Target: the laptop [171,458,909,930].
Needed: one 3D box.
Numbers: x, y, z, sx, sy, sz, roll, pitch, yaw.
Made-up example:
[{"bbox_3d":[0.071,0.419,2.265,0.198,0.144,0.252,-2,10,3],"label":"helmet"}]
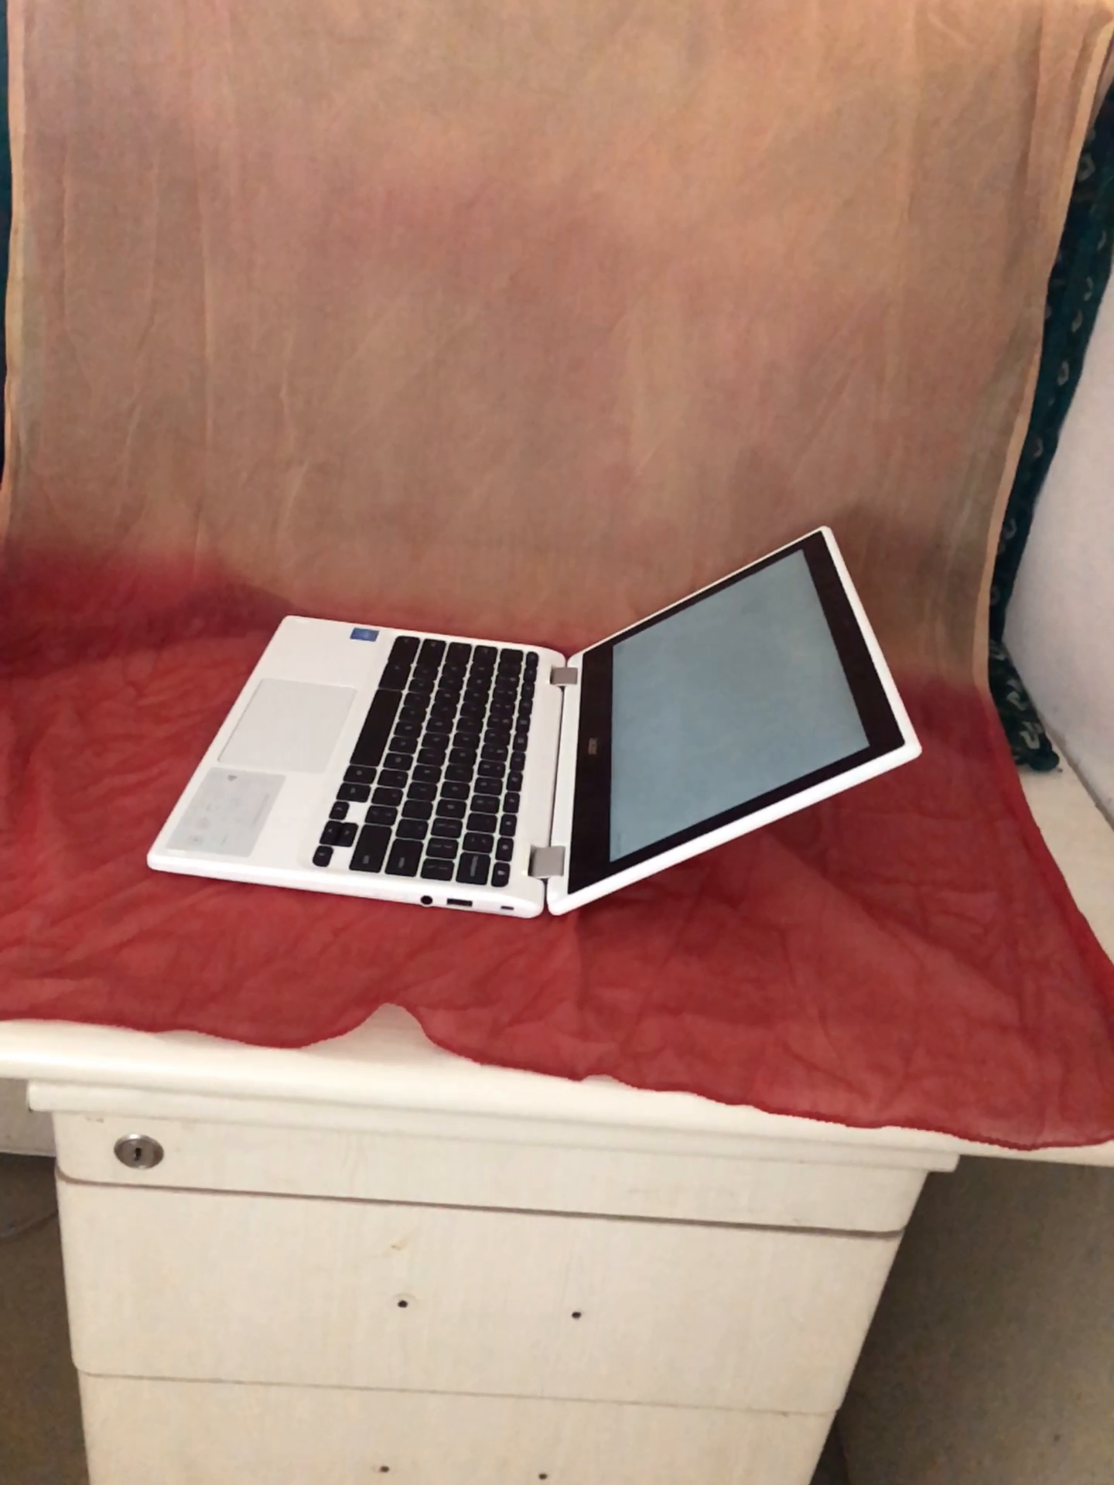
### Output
[{"bbox_3d":[-0.009,-0.045,0.695,0.337,0.112,0.264,7,30,0],"label":"laptop"}]
